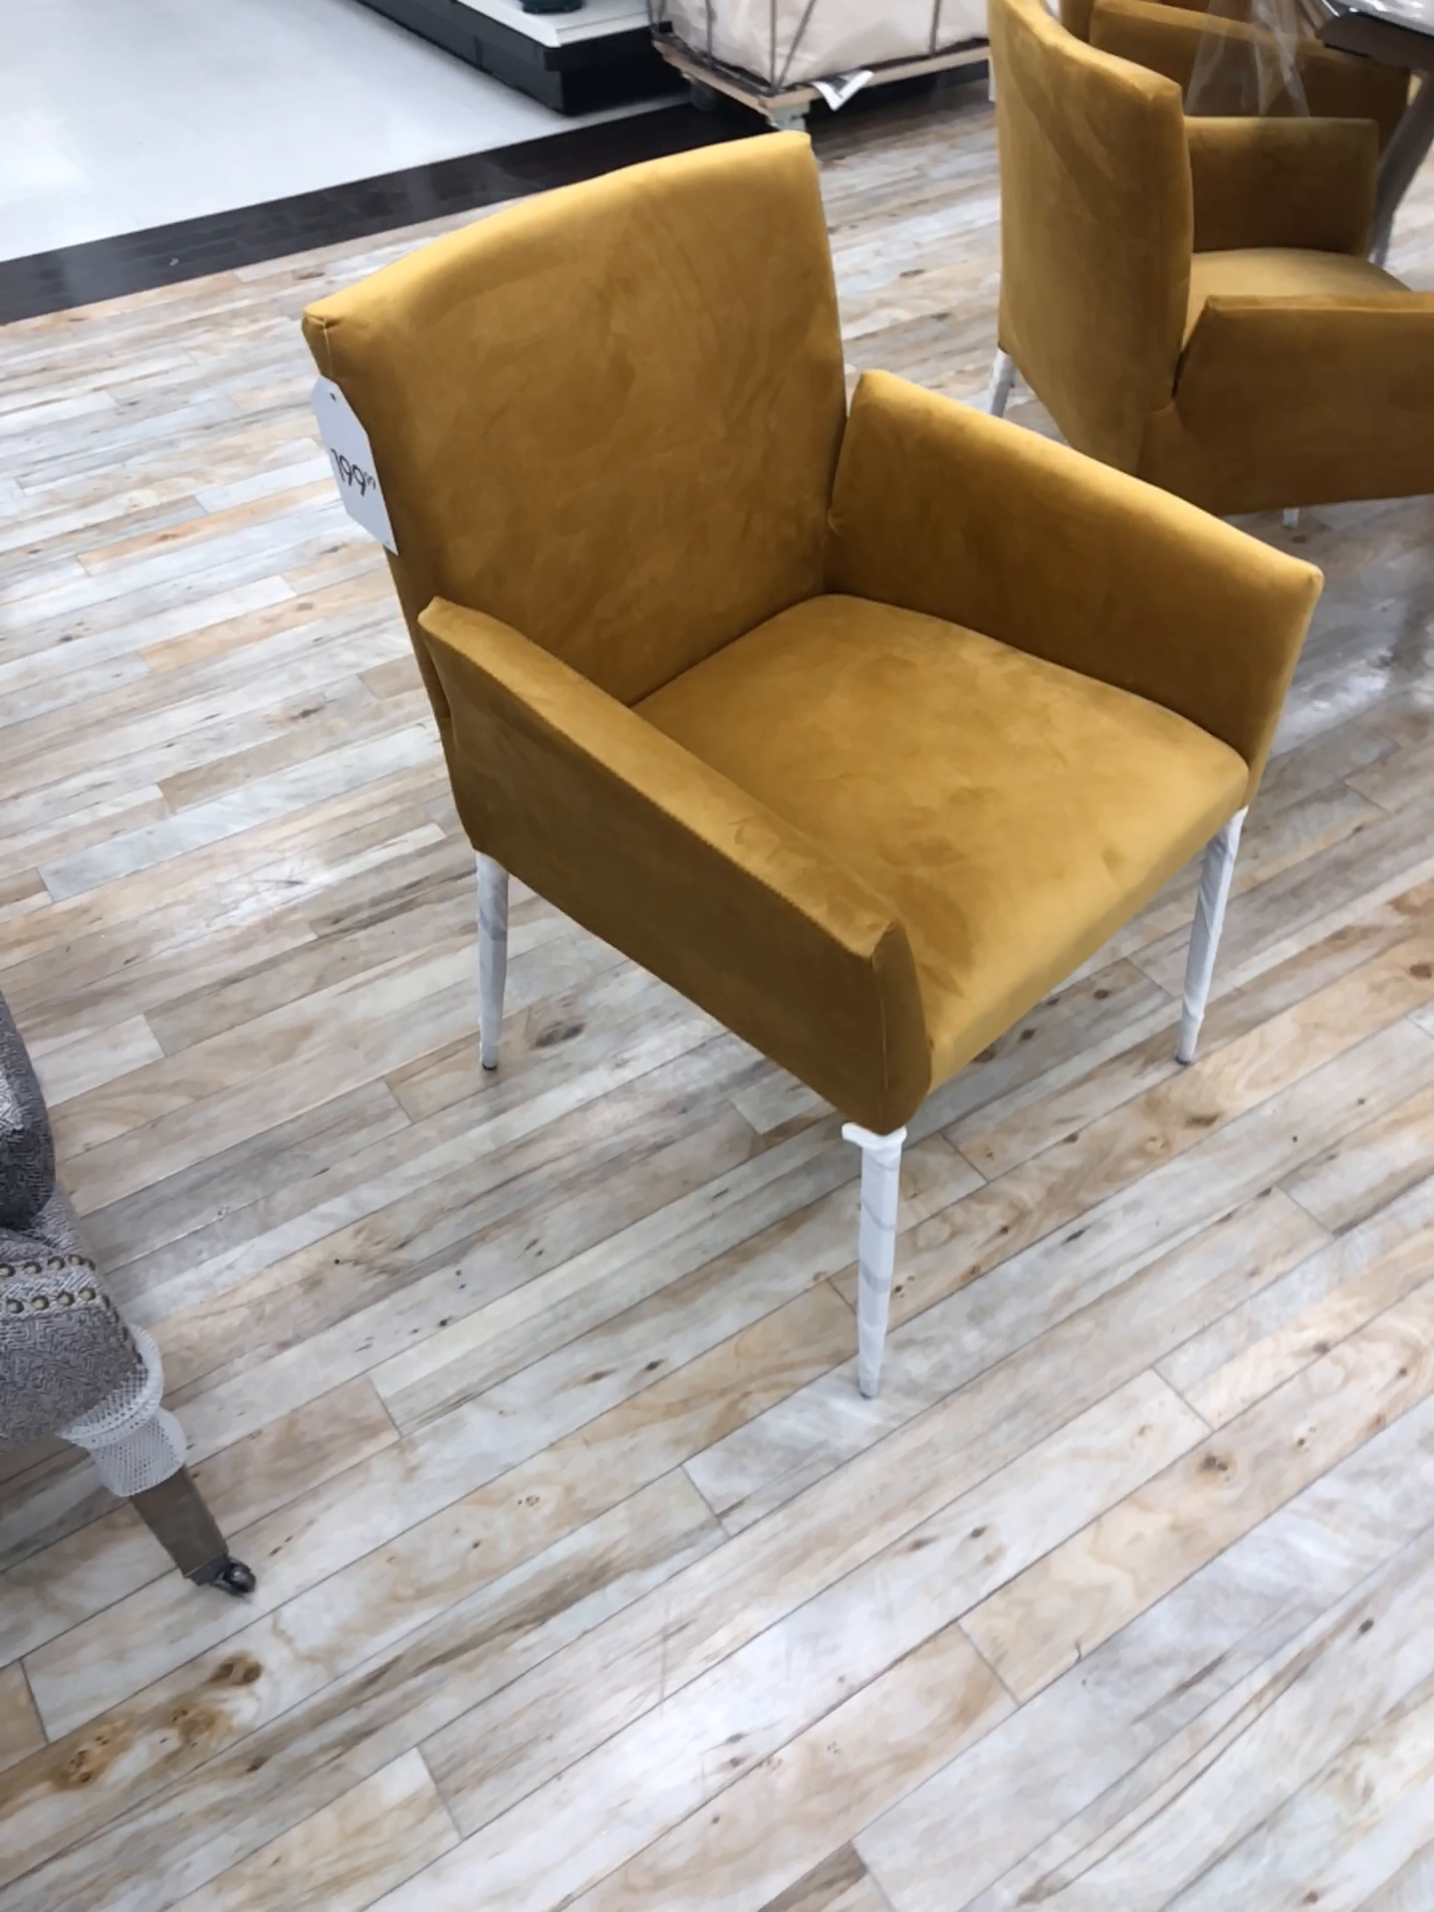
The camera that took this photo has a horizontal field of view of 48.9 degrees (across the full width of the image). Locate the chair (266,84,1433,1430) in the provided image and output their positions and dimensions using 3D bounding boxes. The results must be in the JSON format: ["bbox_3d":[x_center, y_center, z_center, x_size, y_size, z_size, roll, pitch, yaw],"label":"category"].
[{"bbox_3d":[0.105,-0.165,1.308,0.541,0.797,0.561,32,54,30],"label":"chair"}]
